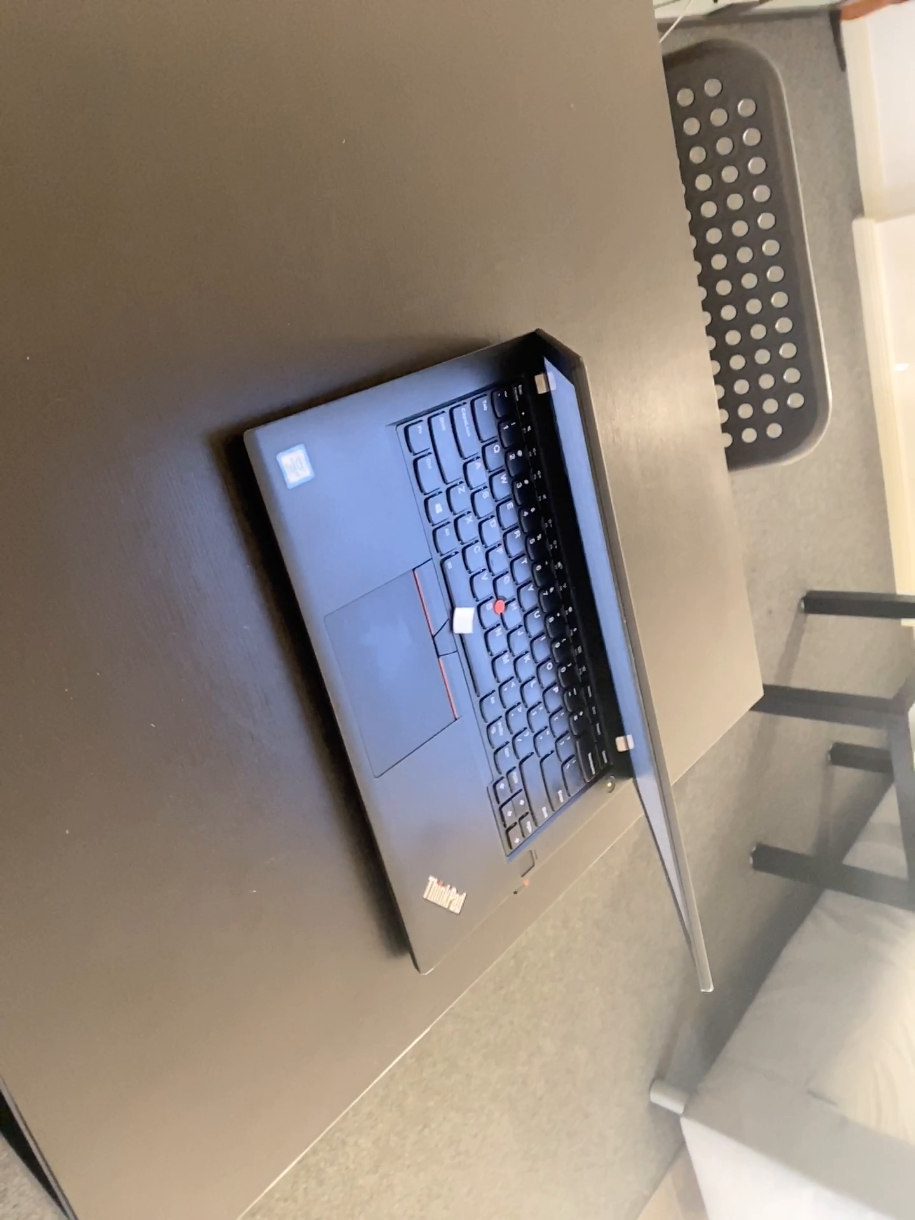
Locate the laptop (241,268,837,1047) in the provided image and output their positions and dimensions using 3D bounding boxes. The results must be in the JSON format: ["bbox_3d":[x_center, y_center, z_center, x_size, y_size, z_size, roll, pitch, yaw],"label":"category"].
[{"bbox_3d":[0.064,0.012,0.485,0.216,0.138,0.300,-33,116,-38],"label":"laptop"}]
